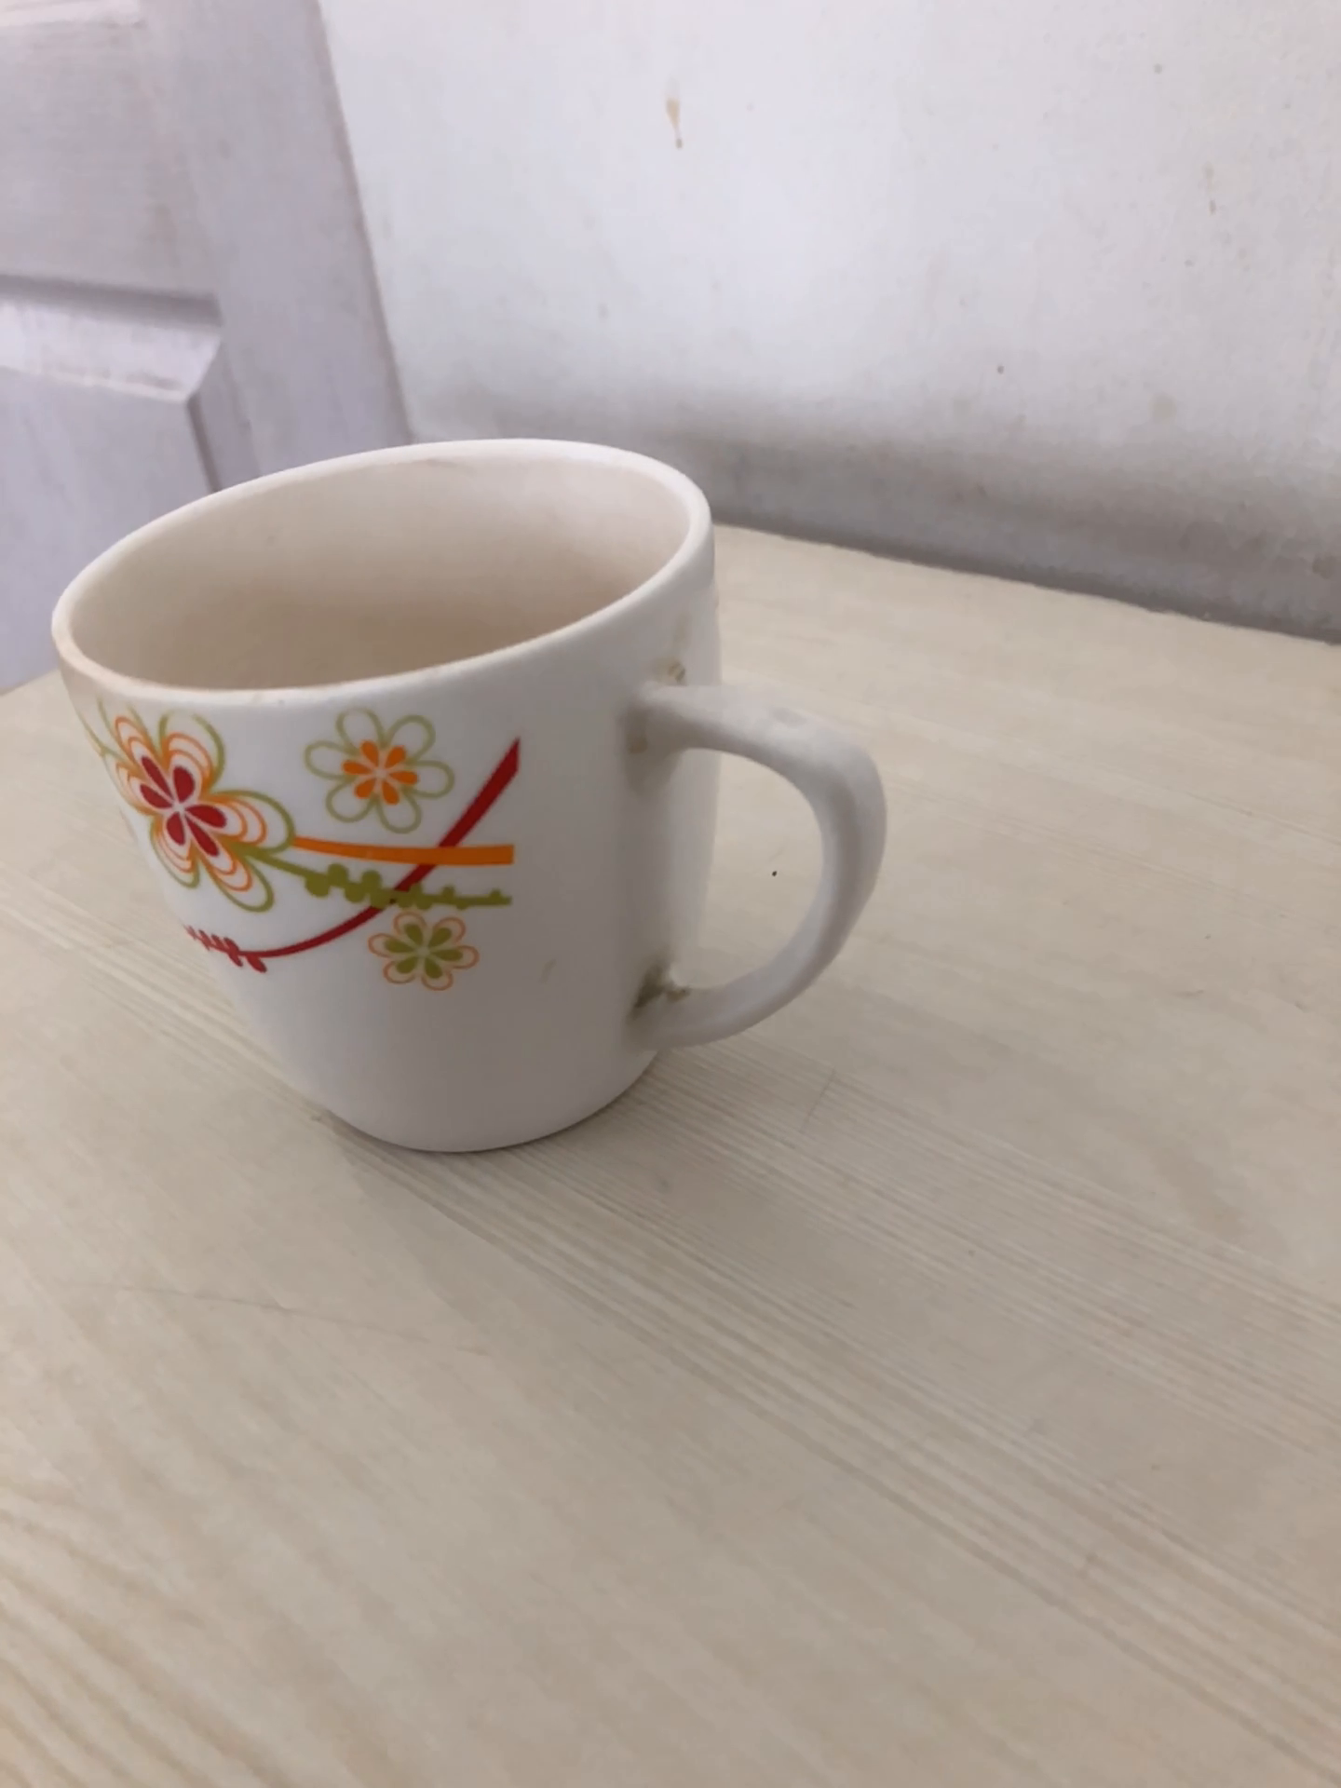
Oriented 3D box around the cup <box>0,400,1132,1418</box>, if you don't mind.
[{"bbox_3d":[-0.014,-0.009,0.179,0.110,0.070,0.070,17,41,32],"label":"cup"}]
